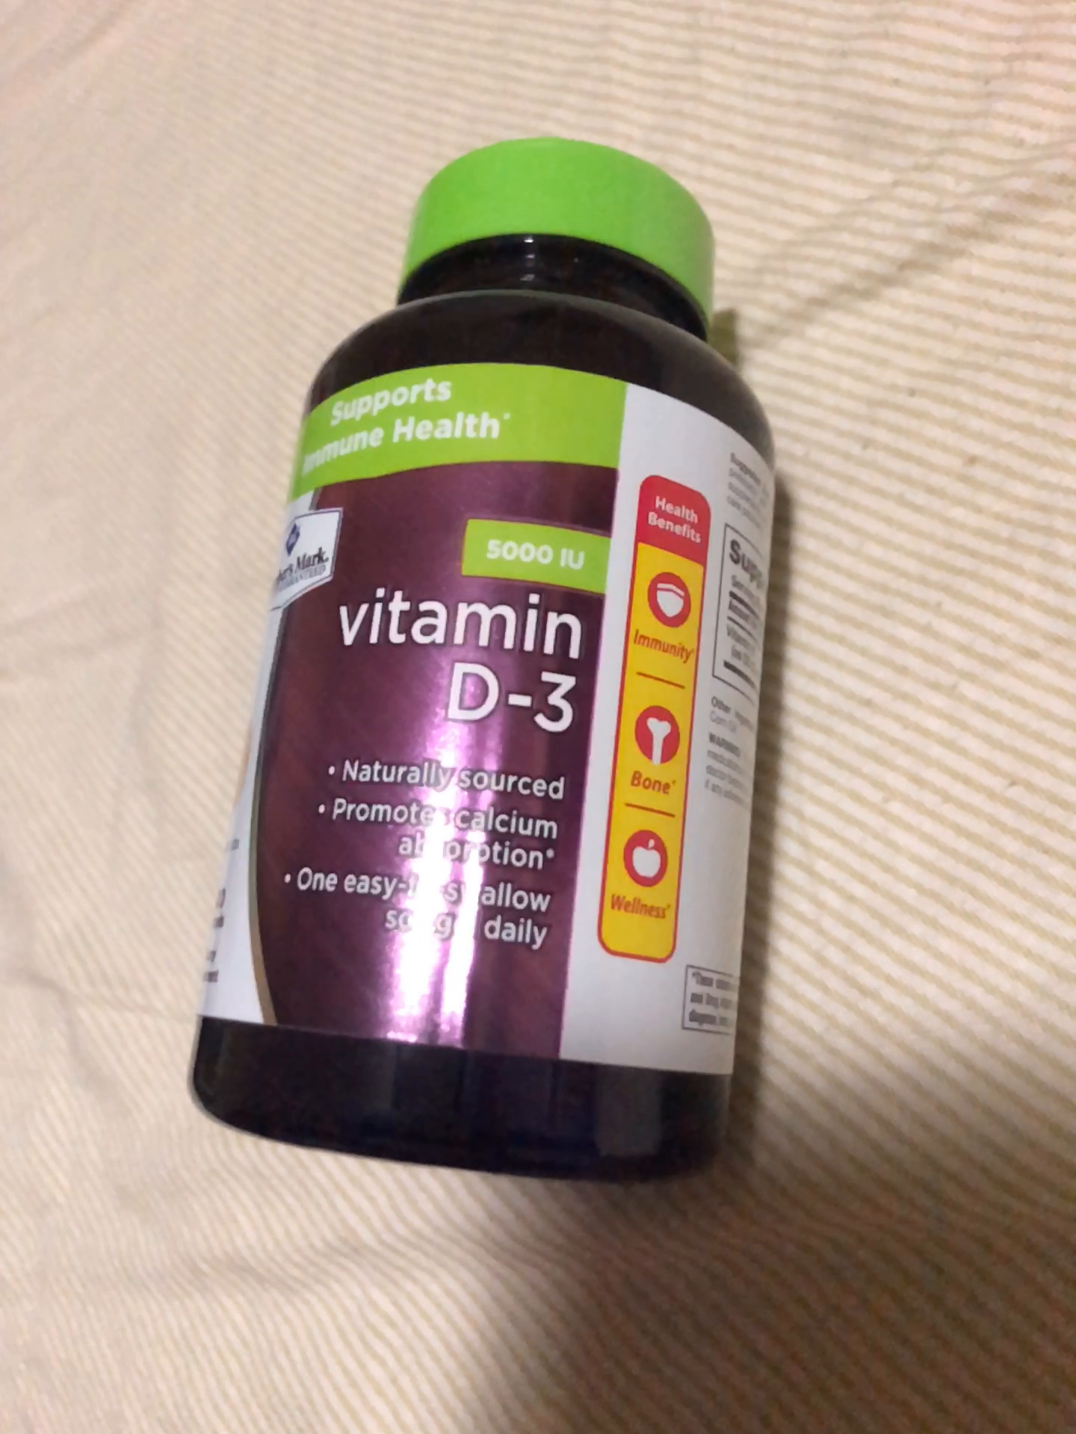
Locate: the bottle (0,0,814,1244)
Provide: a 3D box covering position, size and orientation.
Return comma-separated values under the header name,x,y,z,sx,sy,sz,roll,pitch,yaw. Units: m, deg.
name,x,y,z,sx,sy,sz,roll,pitch,yaw
bottle,-0.009,-0.005,0.142,0.060,0.060,0.110,-4,73,32
